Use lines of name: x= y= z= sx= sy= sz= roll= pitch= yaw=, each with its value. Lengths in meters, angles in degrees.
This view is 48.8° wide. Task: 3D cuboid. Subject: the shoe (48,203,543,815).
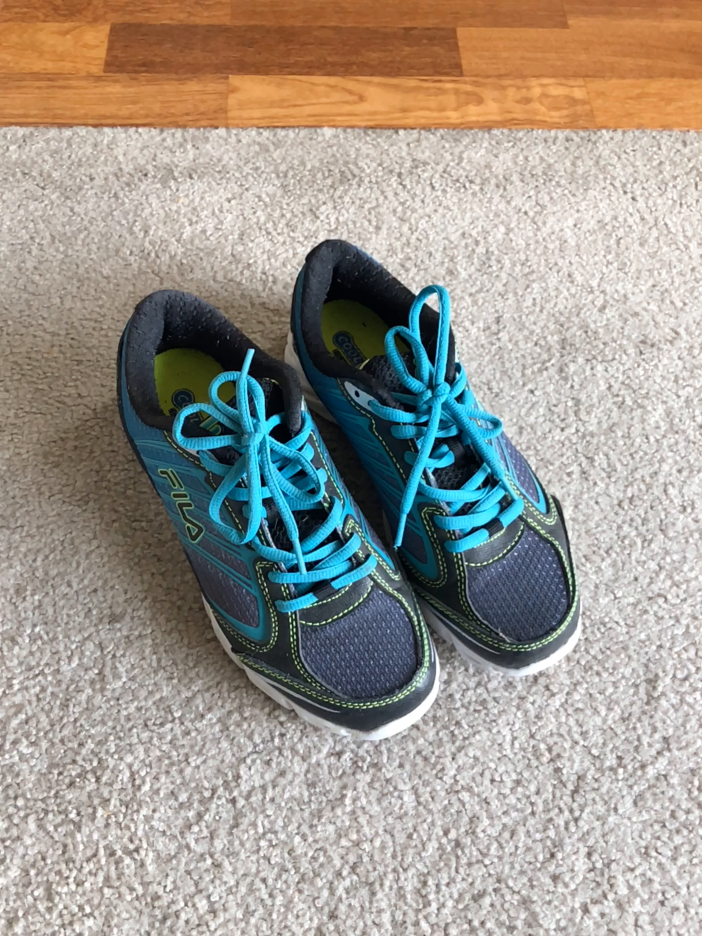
shoe: x=-0.042 y=0.014 z=0.395 sx=0.105 sy=0.119 sz=0.272 roll=-25 pitch=65 yaw=-18

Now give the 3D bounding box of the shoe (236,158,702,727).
shoe: x=0.050 y=-0.019 z=0.422 sx=0.102 sy=0.119 sz=0.275 roll=-26 pitch=67 yaw=-17
